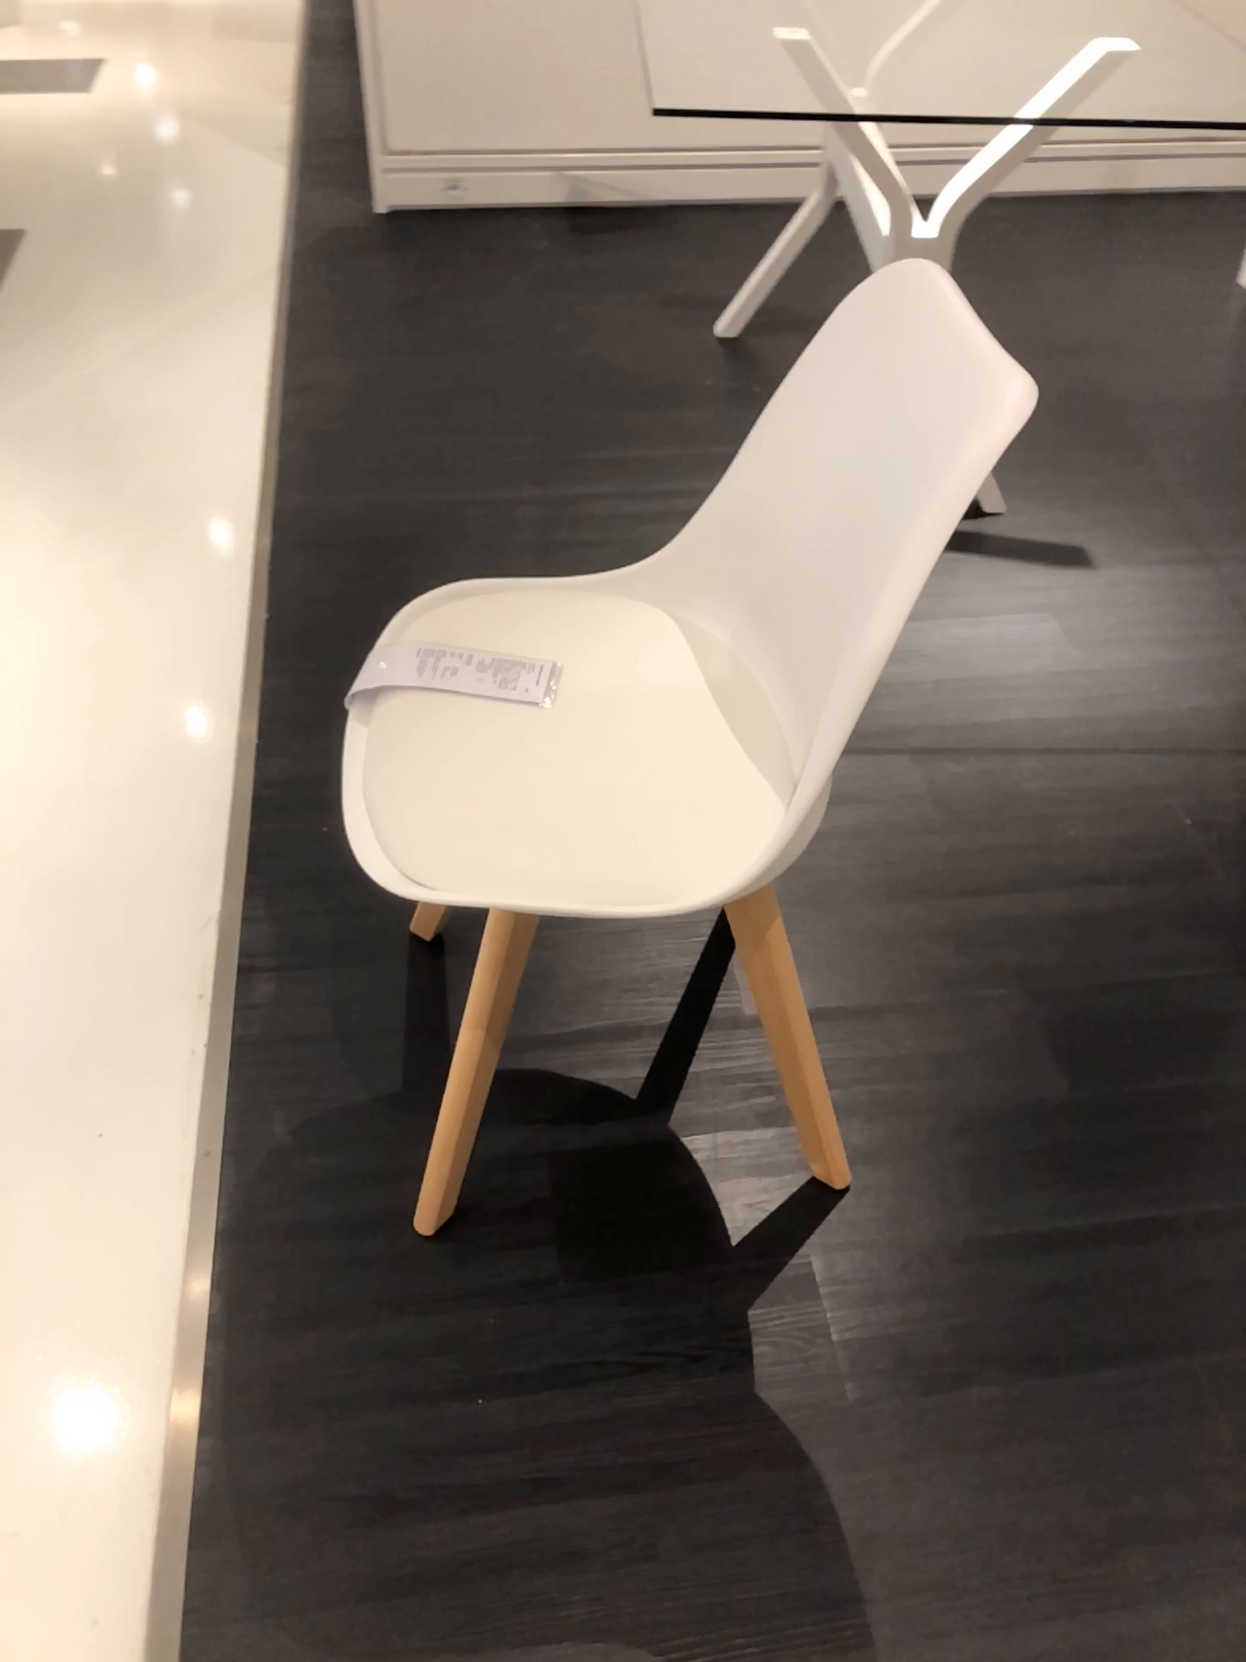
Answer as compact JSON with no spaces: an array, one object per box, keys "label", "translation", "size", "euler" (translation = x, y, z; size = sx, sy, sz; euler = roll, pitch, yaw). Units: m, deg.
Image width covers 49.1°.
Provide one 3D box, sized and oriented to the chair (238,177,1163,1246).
[{"label":"chair","translation":[0.015,-0.089,1.219],"size":[0.530,0.784,0.504],"euler":[-3,42,-6]}]
